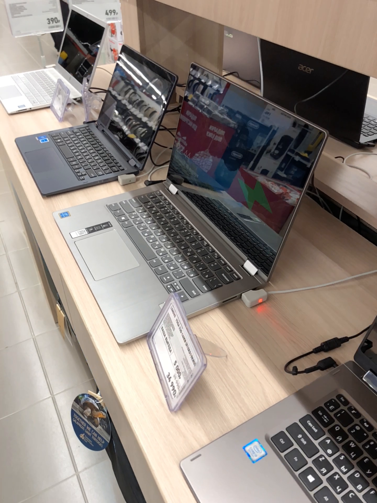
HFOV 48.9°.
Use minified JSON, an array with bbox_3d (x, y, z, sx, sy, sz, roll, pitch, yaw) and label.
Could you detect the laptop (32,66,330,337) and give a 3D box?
[{"bbox_3d":[-0.029,-0.107,0.614,0.287,0.205,0.312,-19,43,-23],"label":"laptop"}]
